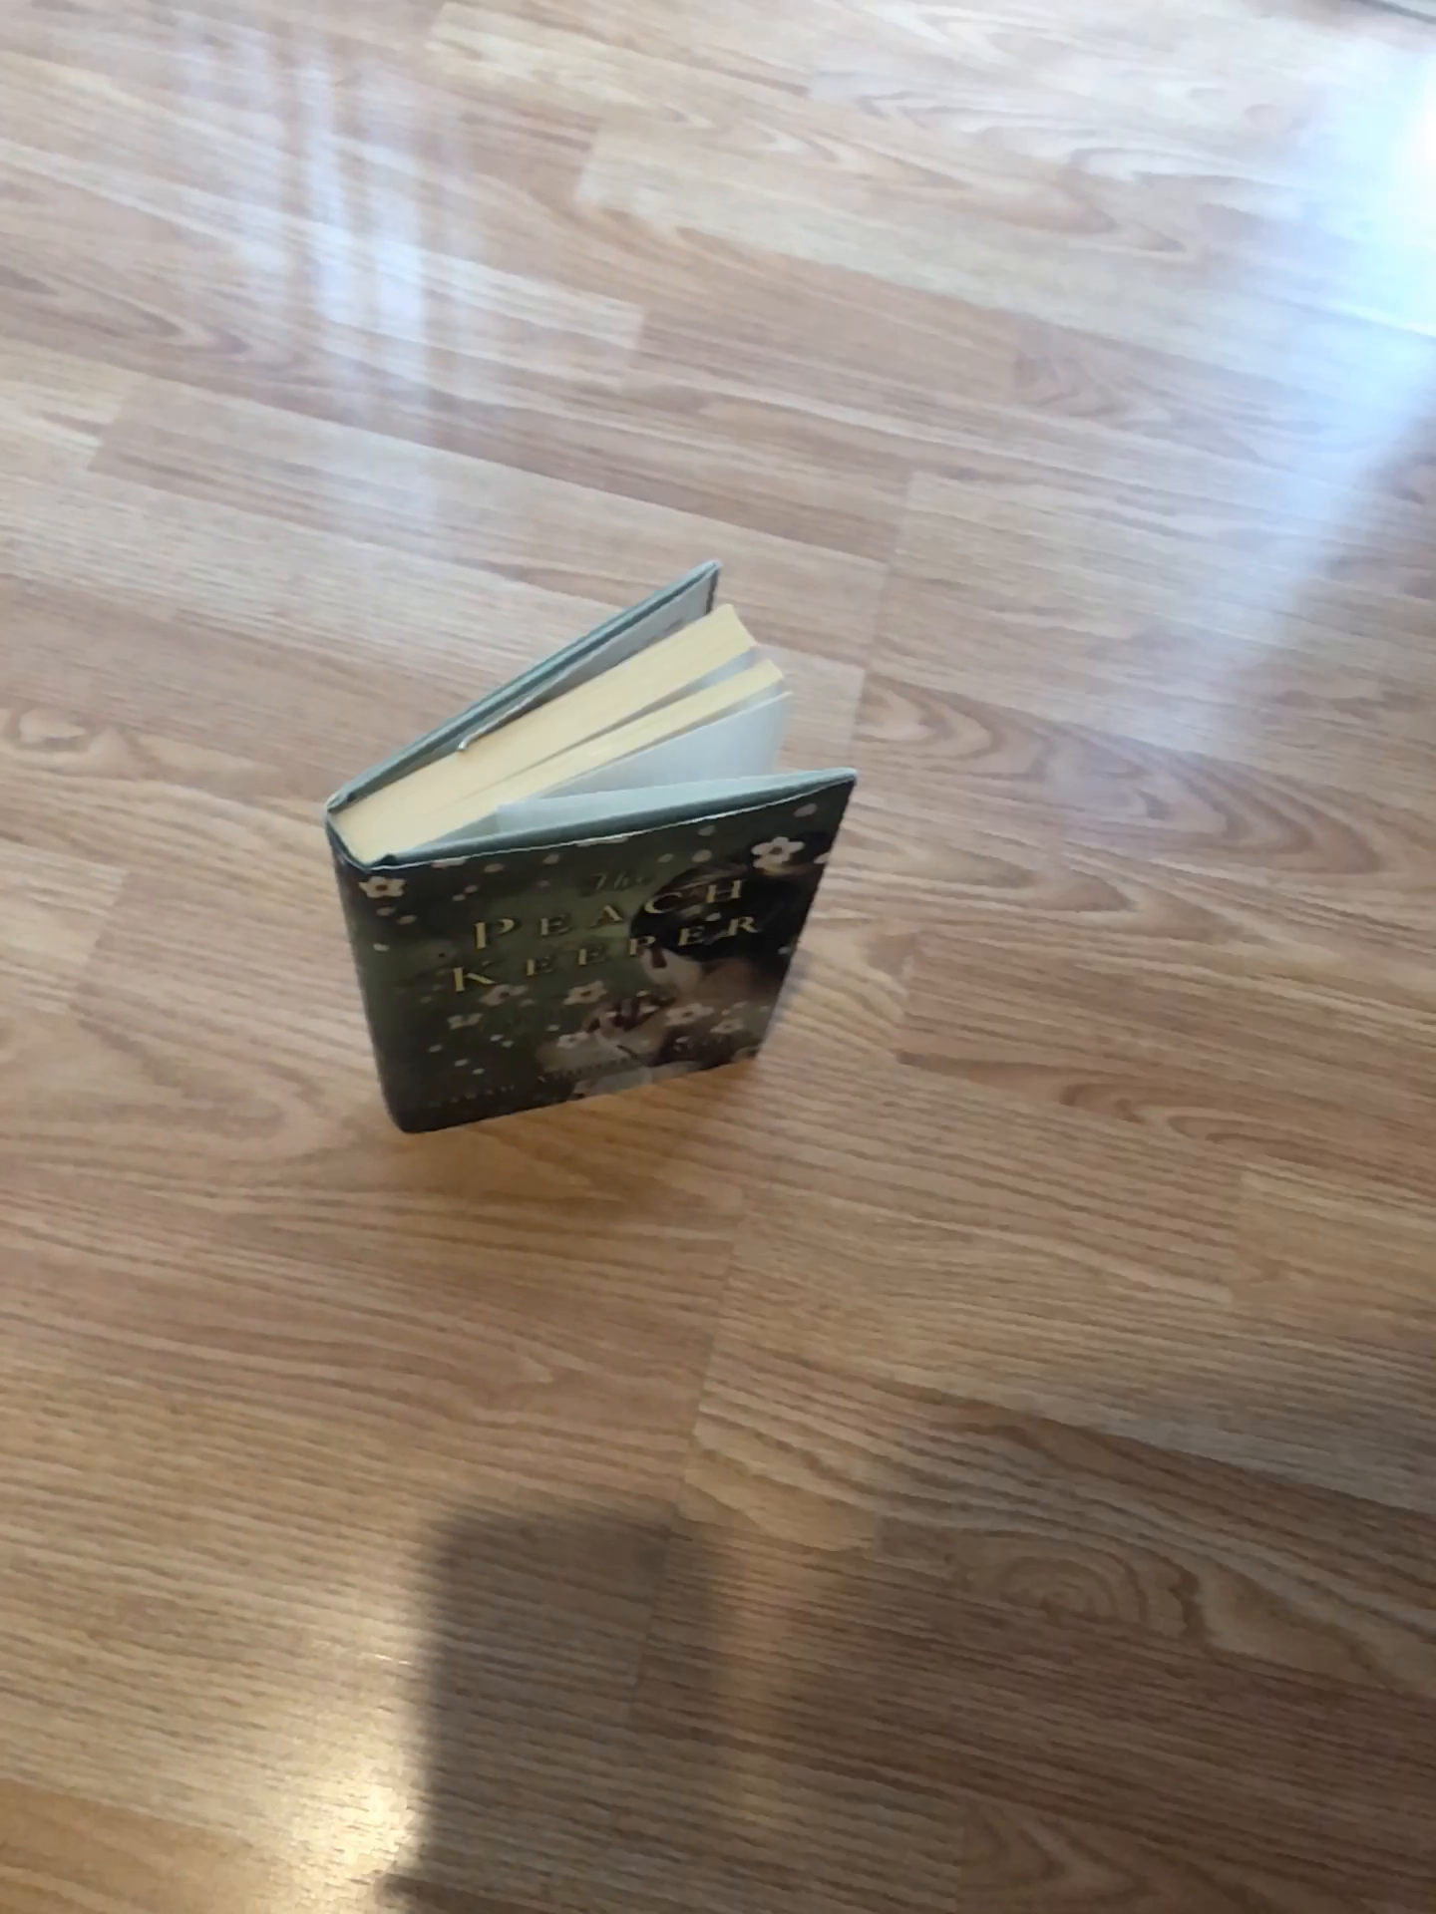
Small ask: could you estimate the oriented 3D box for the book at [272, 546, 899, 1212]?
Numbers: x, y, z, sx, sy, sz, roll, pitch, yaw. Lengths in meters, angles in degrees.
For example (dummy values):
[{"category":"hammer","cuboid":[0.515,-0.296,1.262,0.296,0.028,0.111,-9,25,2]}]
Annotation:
[{"category":"book","cuboid":[-0.049,-0.013,0.530,0.150,0.220,0.080,-24,71,-18]}]
